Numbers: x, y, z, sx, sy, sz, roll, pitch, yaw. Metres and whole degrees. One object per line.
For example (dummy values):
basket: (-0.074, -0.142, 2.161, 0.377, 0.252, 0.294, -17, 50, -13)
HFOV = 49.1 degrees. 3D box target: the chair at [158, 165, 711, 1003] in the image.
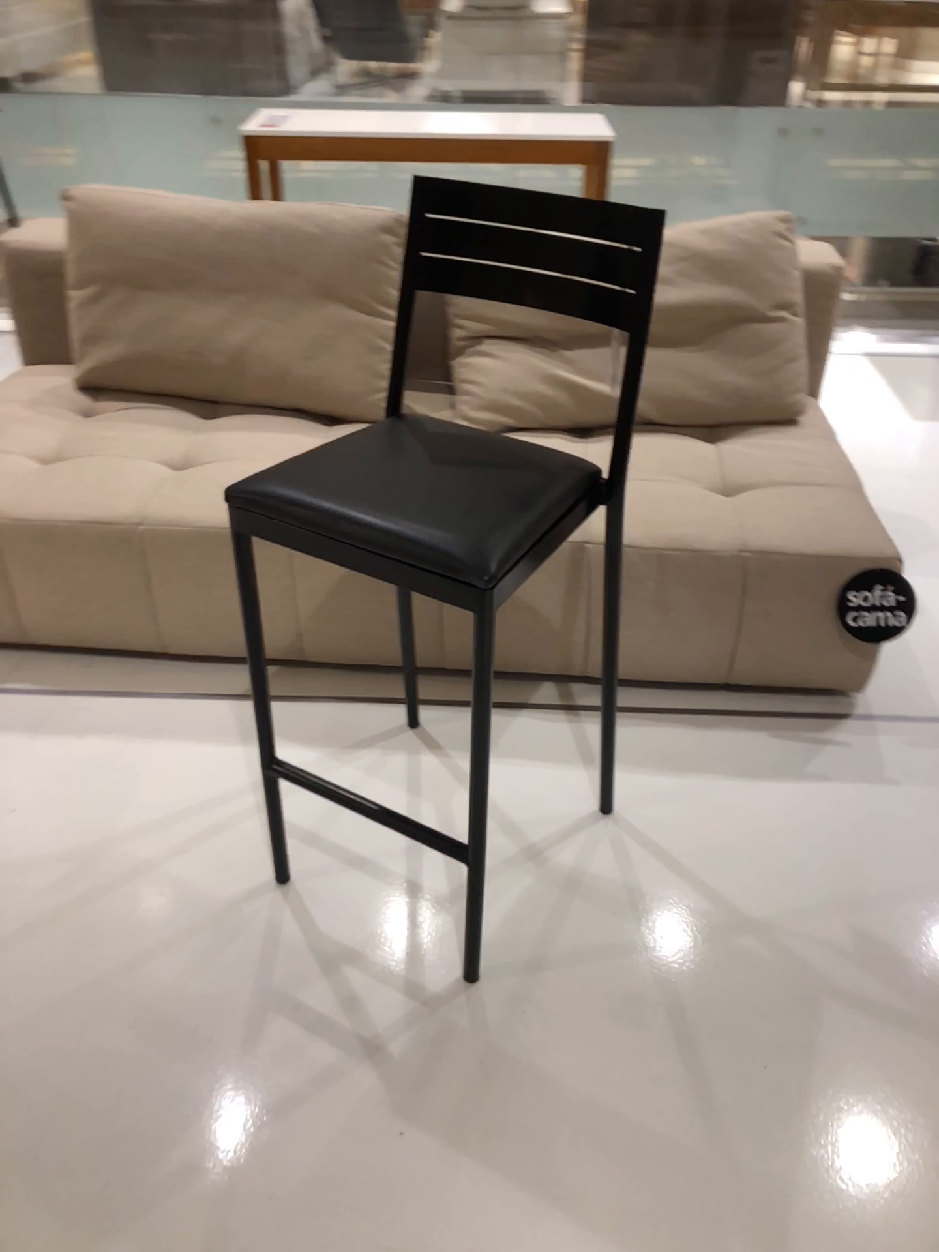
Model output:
chair: (-0.020, -0.053, 1.391, 0.421, 0.943, 0.473, 19, 38, 24)
